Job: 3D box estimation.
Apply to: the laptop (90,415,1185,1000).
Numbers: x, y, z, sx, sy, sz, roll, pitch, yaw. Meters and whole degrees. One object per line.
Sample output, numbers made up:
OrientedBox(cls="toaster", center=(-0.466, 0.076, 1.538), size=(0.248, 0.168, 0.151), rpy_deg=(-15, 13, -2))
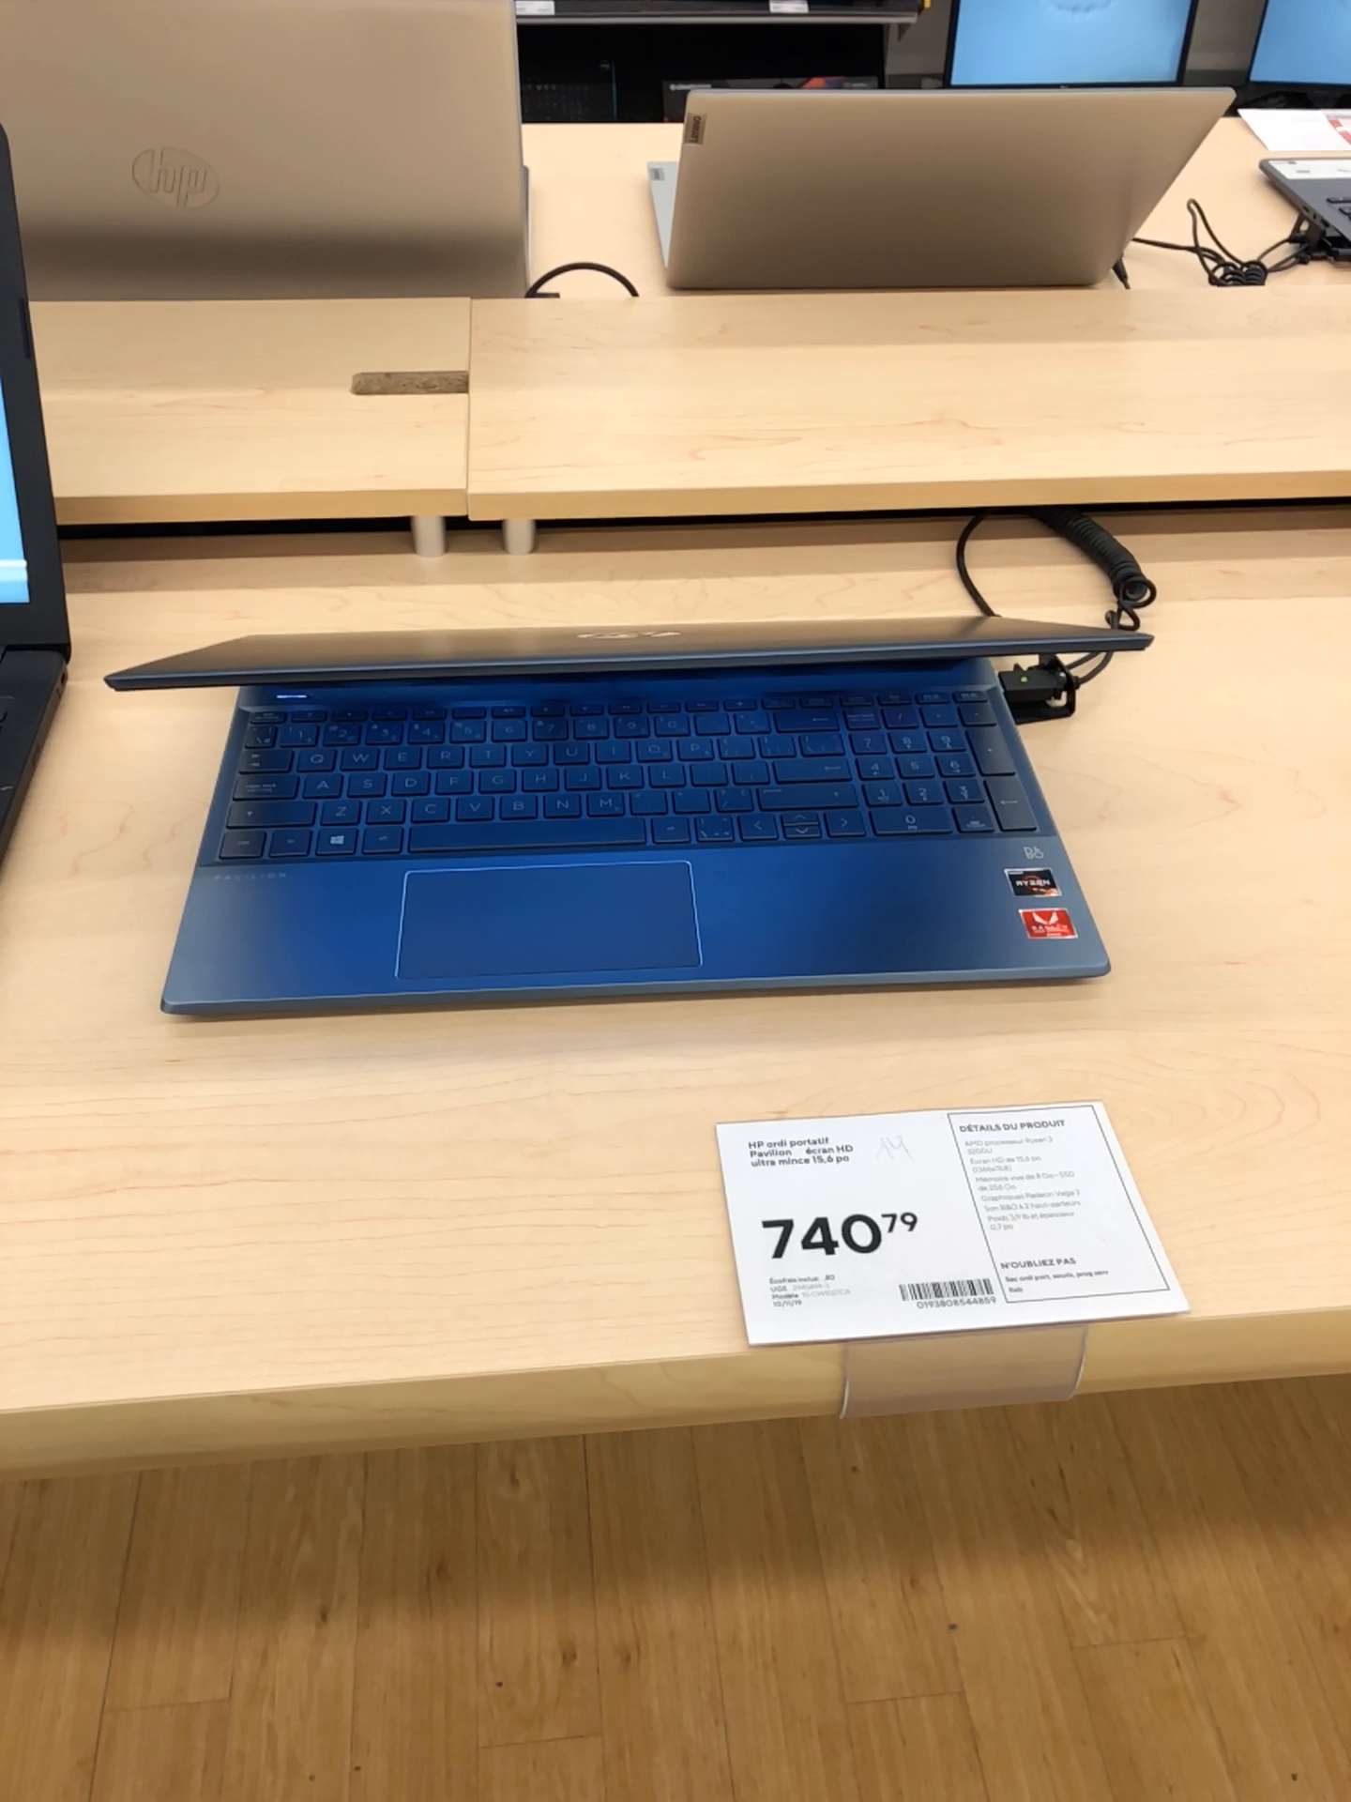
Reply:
OrientedBox(cls="laptop", center=(-0.016, -0.086, 0.590), size=(0.349, 0.119, 0.210), rpy_deg=(-2, 44, -4))
